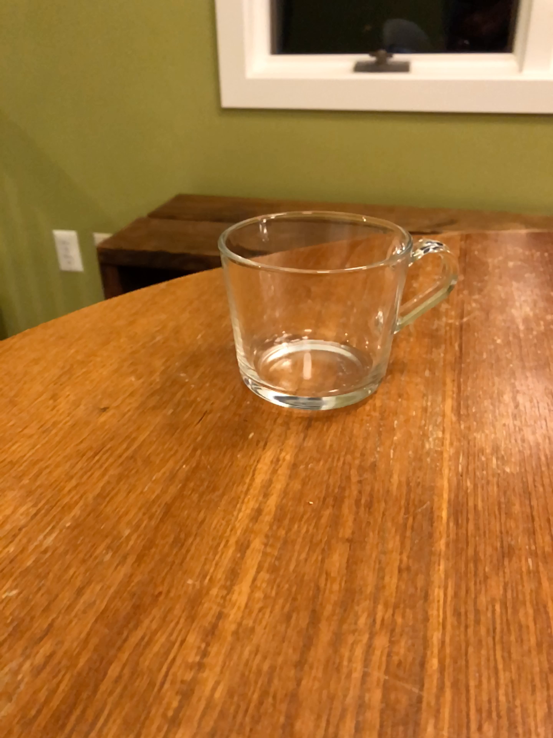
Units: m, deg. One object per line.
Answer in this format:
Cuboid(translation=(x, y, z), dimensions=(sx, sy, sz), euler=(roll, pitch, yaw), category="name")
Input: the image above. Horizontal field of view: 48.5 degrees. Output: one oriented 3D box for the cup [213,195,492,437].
Cuboid(translation=(0.033, -0.036, 0.341), dimensions=(0.120, 0.089, 0.101), euler=(-6, 30, -9), category="cup")
